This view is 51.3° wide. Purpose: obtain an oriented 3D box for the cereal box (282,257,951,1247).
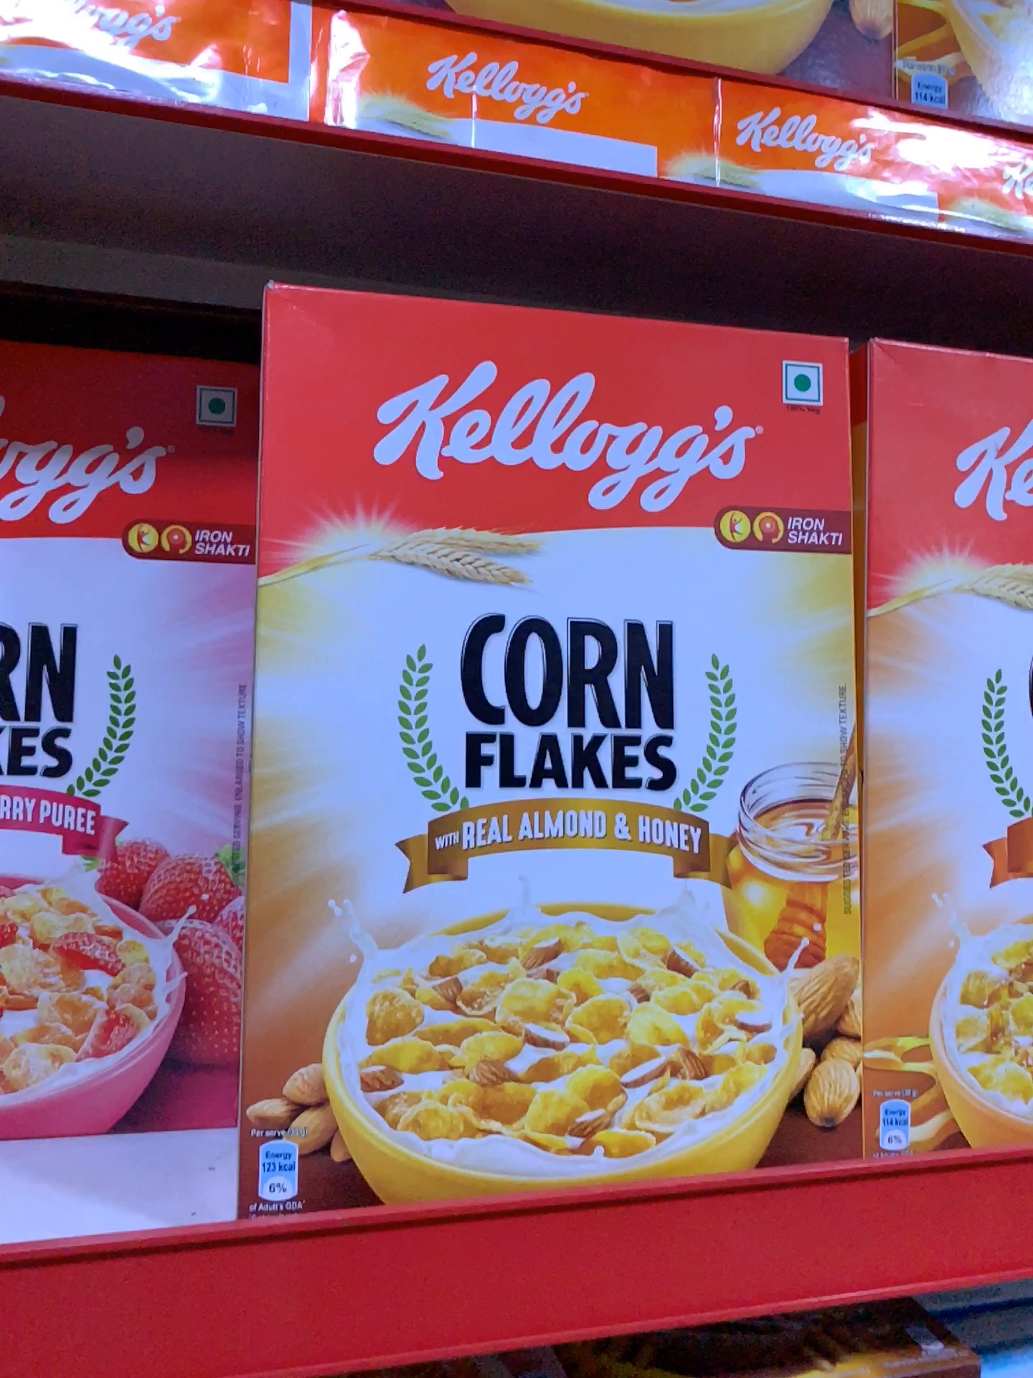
[{"bbox_3d":[0.025,0.014,0.297,0.170,0.230,0.060,1,-2,-11],"label":"cereal box"}]
